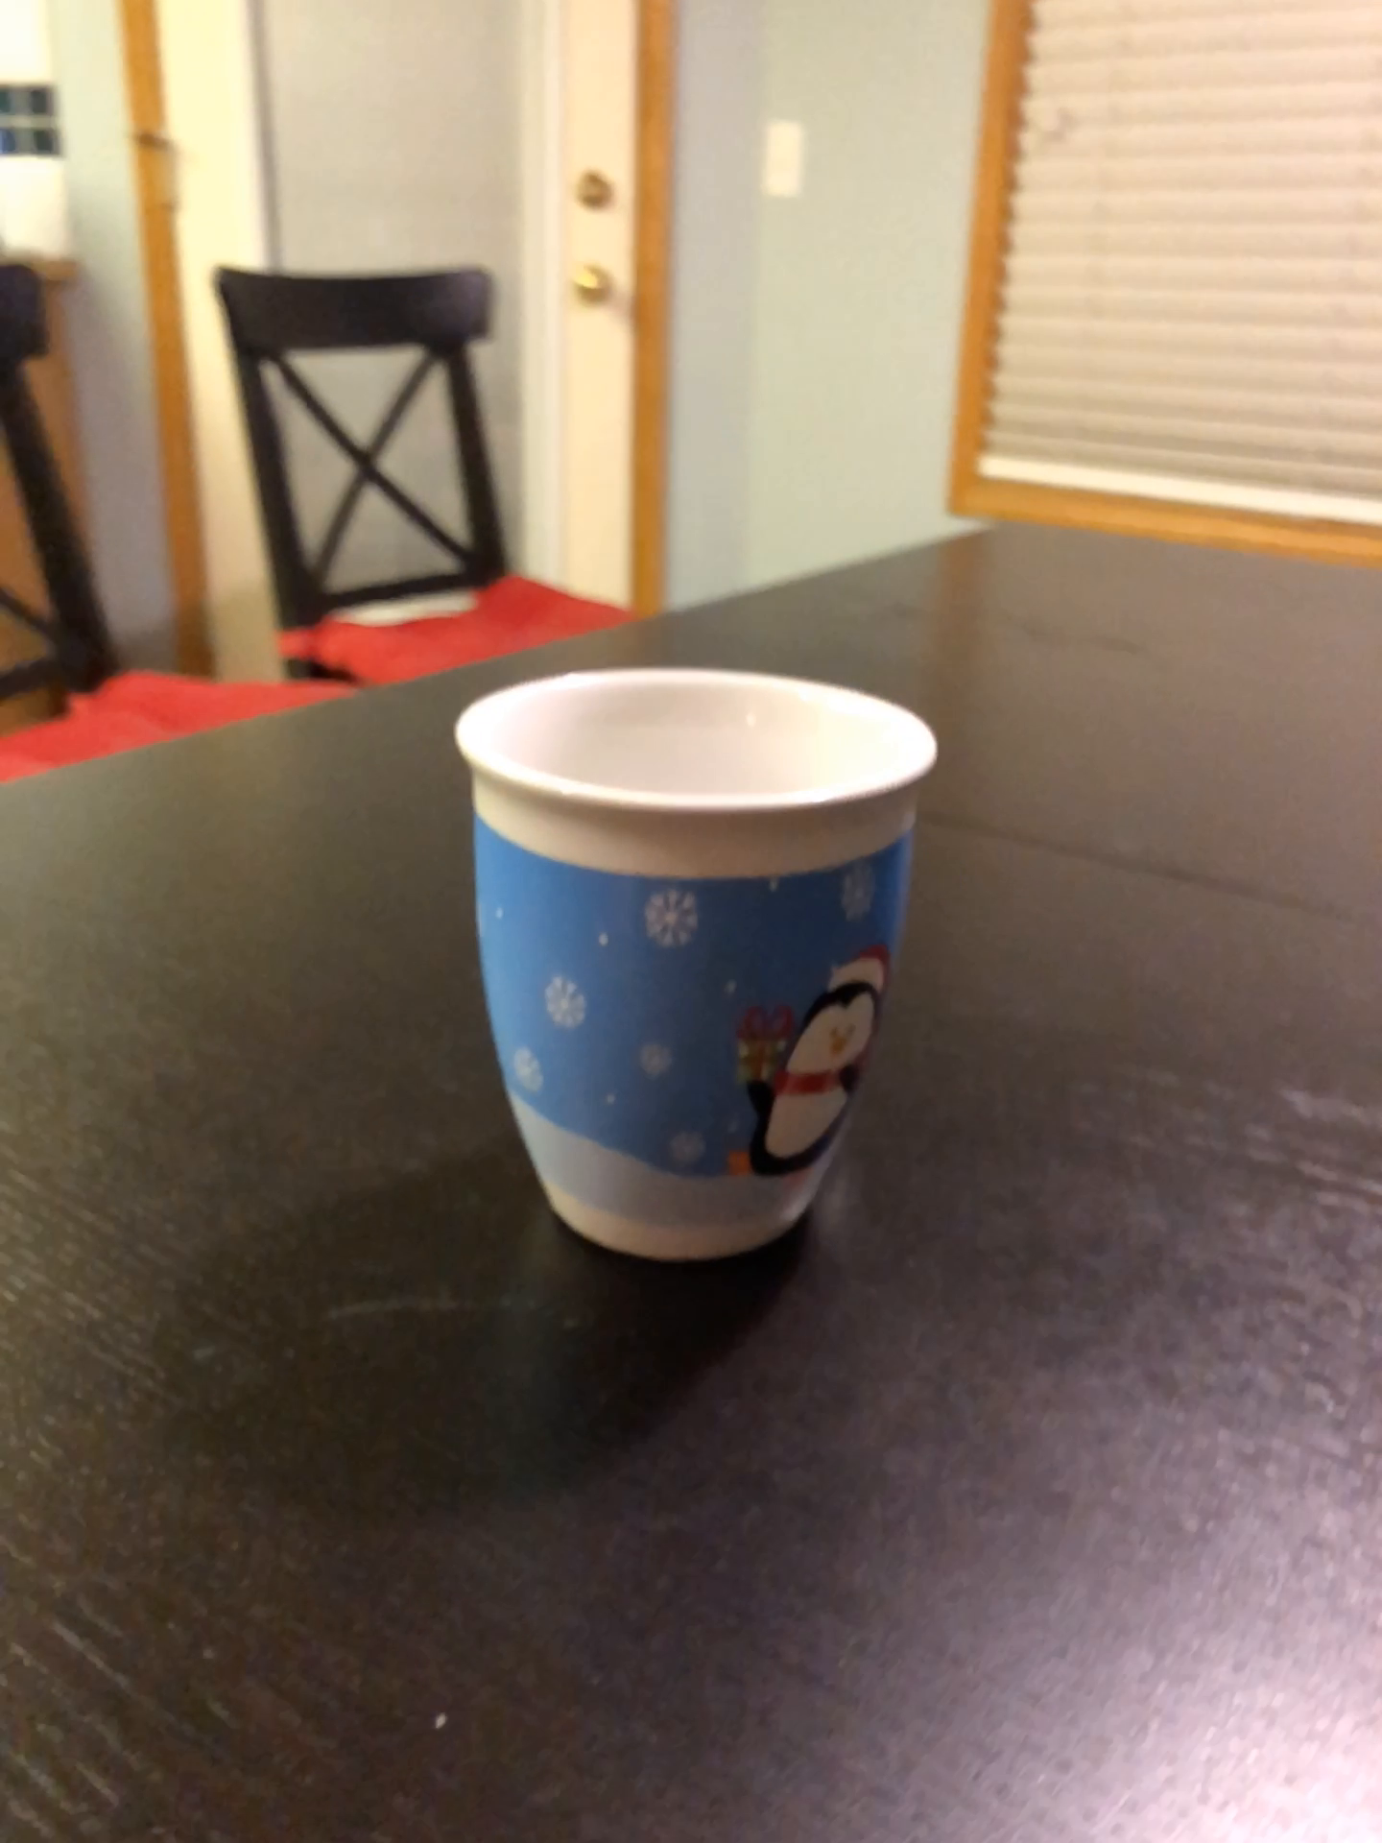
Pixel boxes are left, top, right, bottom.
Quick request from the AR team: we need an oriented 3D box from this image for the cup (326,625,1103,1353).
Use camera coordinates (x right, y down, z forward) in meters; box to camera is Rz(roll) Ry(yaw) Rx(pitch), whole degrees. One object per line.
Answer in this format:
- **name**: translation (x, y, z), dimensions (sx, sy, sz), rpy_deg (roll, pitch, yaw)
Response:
- **cup**: translation (0.009, 0.001, 0.350), dimensions (0.100, 0.100, 0.140), rpy_deg (18, 27, 35)
